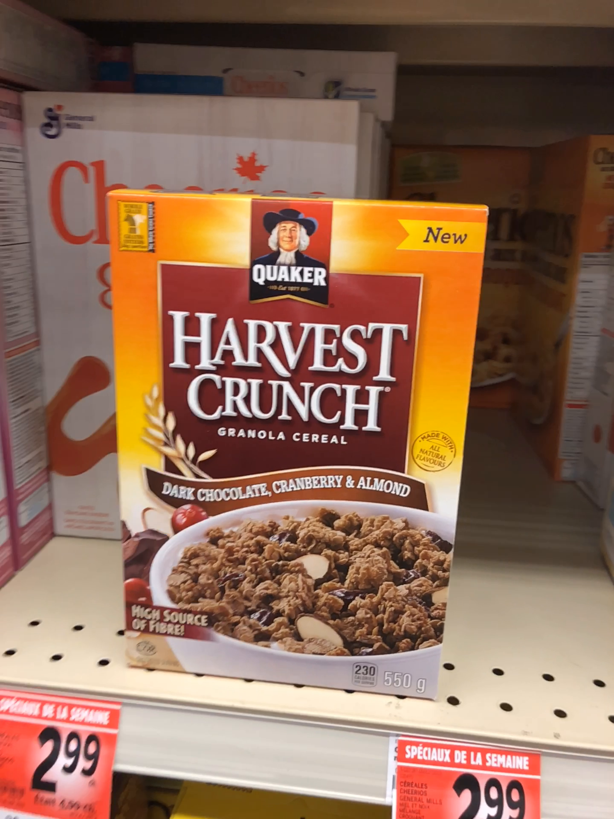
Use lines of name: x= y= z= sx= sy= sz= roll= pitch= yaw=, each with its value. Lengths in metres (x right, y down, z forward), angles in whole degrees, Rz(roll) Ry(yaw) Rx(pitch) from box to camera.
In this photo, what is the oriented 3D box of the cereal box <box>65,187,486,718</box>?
cereal box: x=-0.016 y=0.020 z=0.333 sx=0.170 sy=0.239 sz=0.060 roll=4 pitch=16 yaw=6
